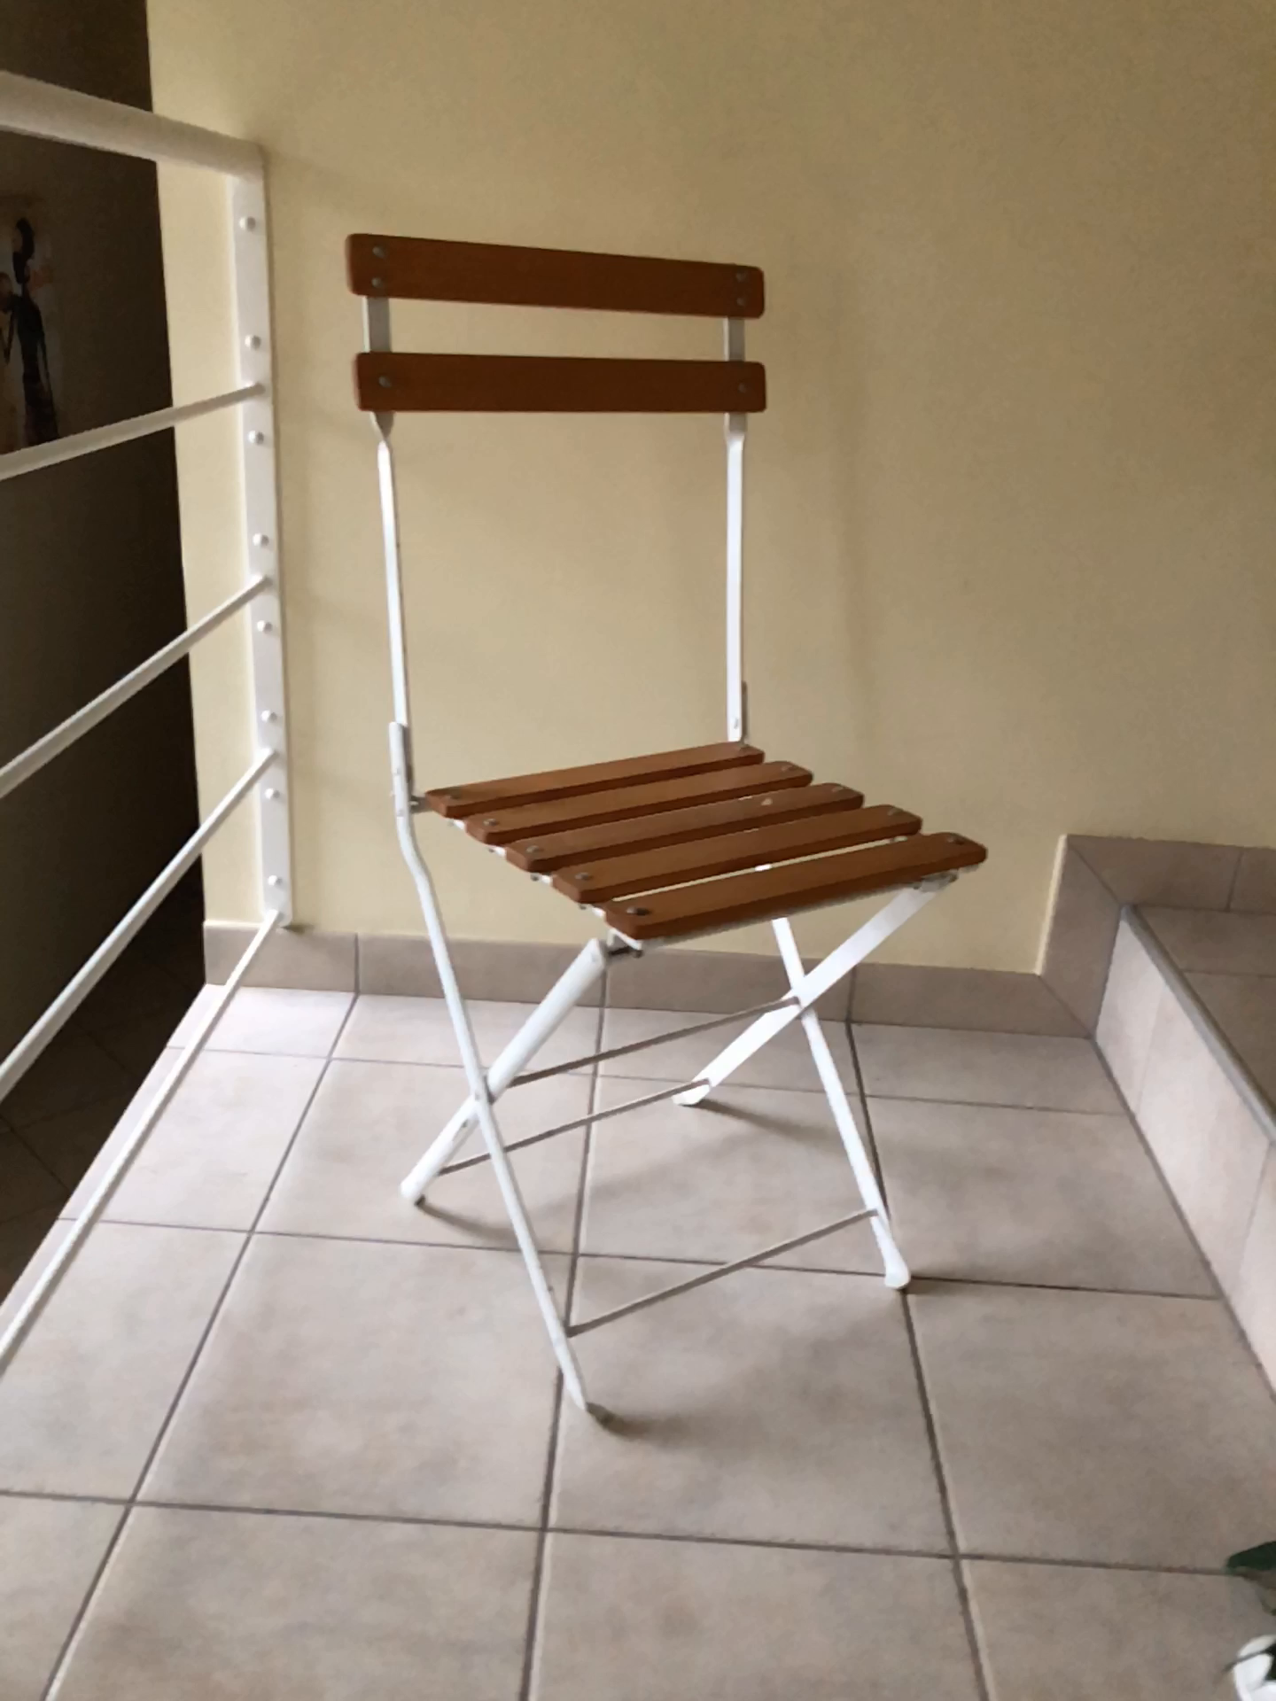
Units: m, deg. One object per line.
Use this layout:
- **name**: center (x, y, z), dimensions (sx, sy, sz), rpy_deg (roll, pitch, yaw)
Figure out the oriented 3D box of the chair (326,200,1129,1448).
- **chair**: center (0.038, -0.055, 1.210), dimensions (0.442, 0.876, 0.430), rpy_deg (-11, 24, -32)
